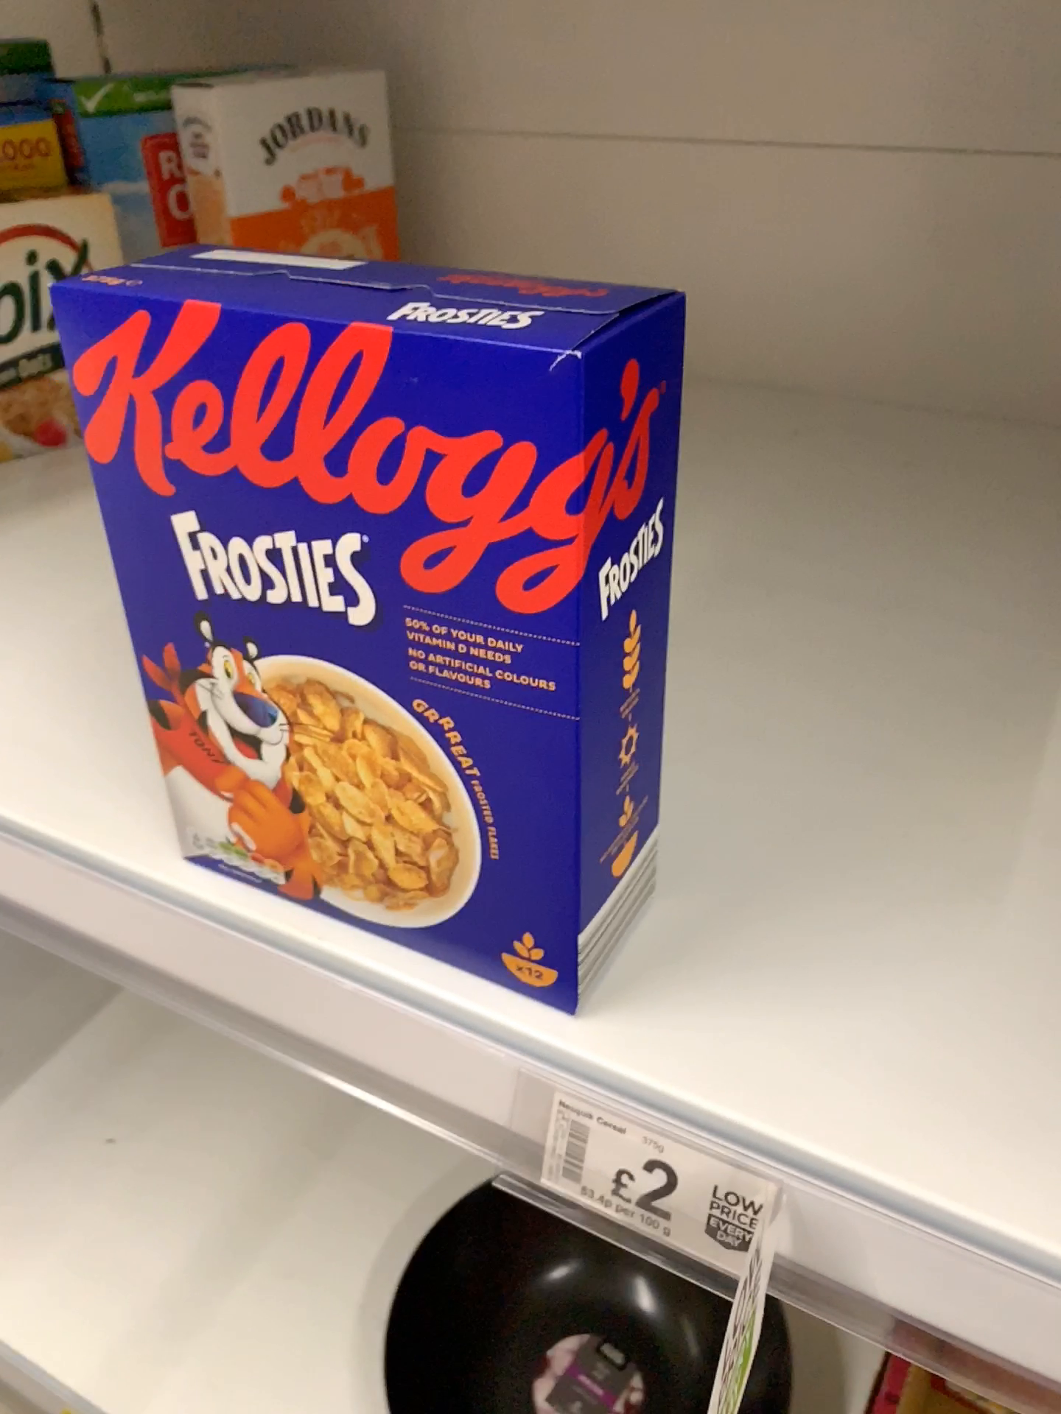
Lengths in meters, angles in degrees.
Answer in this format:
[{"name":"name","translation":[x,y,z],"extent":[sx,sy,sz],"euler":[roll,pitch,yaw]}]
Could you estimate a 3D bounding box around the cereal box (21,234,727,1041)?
[{"name":"cereal box","translation":[-0.048,-0.027,0.391],"extent":[0.200,0.238,0.081],"euler":[16,37,25]}]
